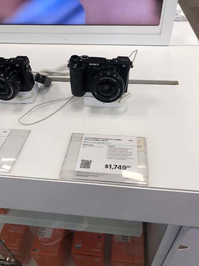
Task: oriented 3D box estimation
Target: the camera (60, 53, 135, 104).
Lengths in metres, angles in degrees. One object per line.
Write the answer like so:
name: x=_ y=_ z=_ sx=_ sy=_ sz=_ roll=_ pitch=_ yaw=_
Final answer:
camera: x=0.000 y=-0.106 z=0.427 sx=0.130 sy=0.070 sz=0.060 roll=3 pitch=44 yaw=5
